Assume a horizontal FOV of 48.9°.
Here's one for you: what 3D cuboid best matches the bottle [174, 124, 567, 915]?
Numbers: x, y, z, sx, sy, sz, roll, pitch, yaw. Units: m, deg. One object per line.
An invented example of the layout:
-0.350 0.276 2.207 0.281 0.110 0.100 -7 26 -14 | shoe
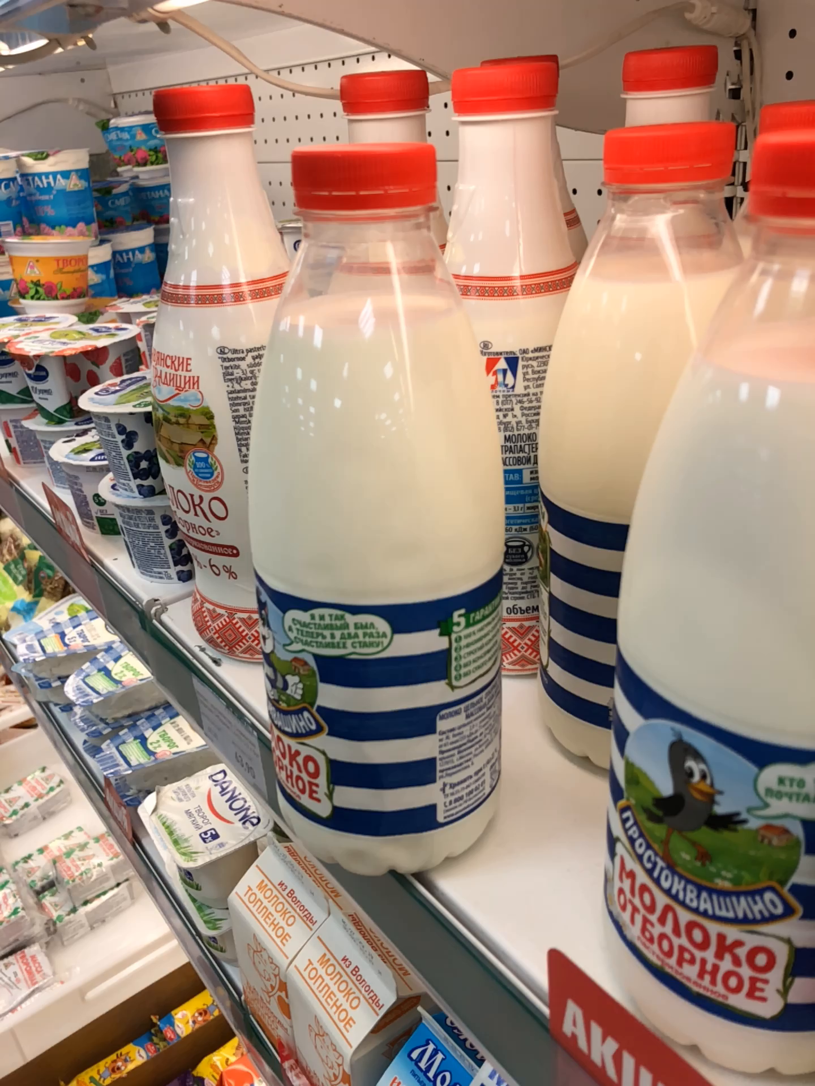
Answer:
-0.014 -0.010 0.294 0.080 0.228 0.090 -11 25 -24 | bottle
